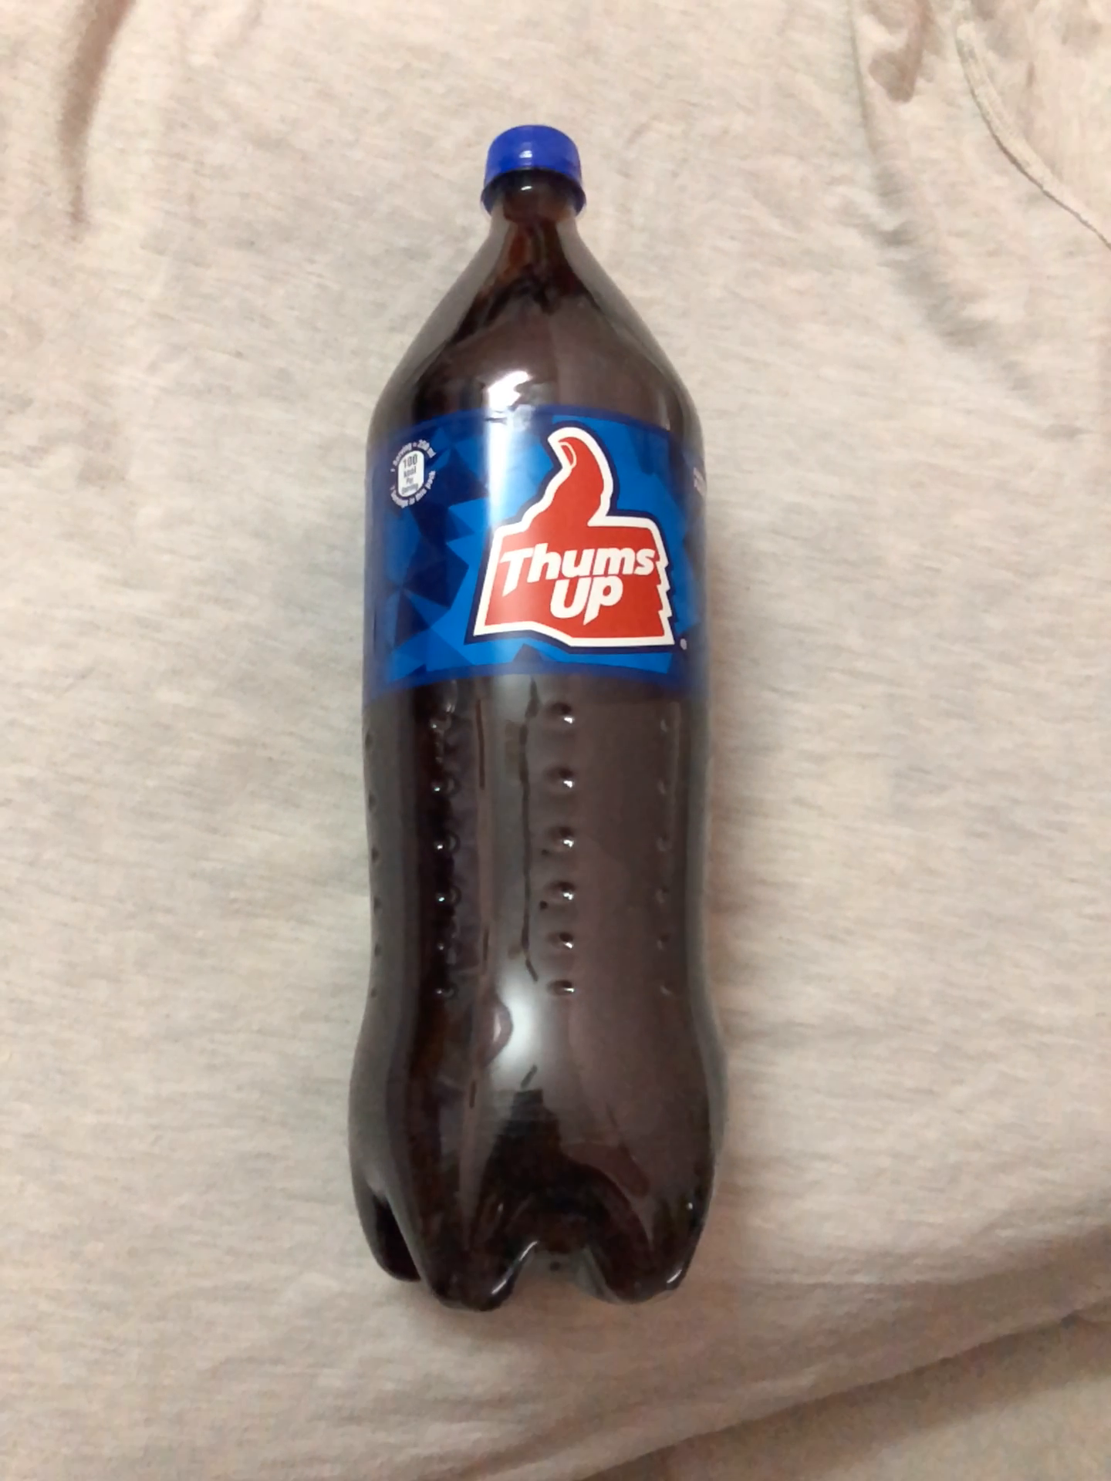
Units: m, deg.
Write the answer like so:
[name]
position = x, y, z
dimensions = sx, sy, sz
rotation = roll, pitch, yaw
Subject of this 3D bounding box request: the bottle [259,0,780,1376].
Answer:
[bottle]
position = -0.014, -0.026, 0.291
dimensions = 0.100, 0.060, 0.300
rotation = 1, 79, -11
